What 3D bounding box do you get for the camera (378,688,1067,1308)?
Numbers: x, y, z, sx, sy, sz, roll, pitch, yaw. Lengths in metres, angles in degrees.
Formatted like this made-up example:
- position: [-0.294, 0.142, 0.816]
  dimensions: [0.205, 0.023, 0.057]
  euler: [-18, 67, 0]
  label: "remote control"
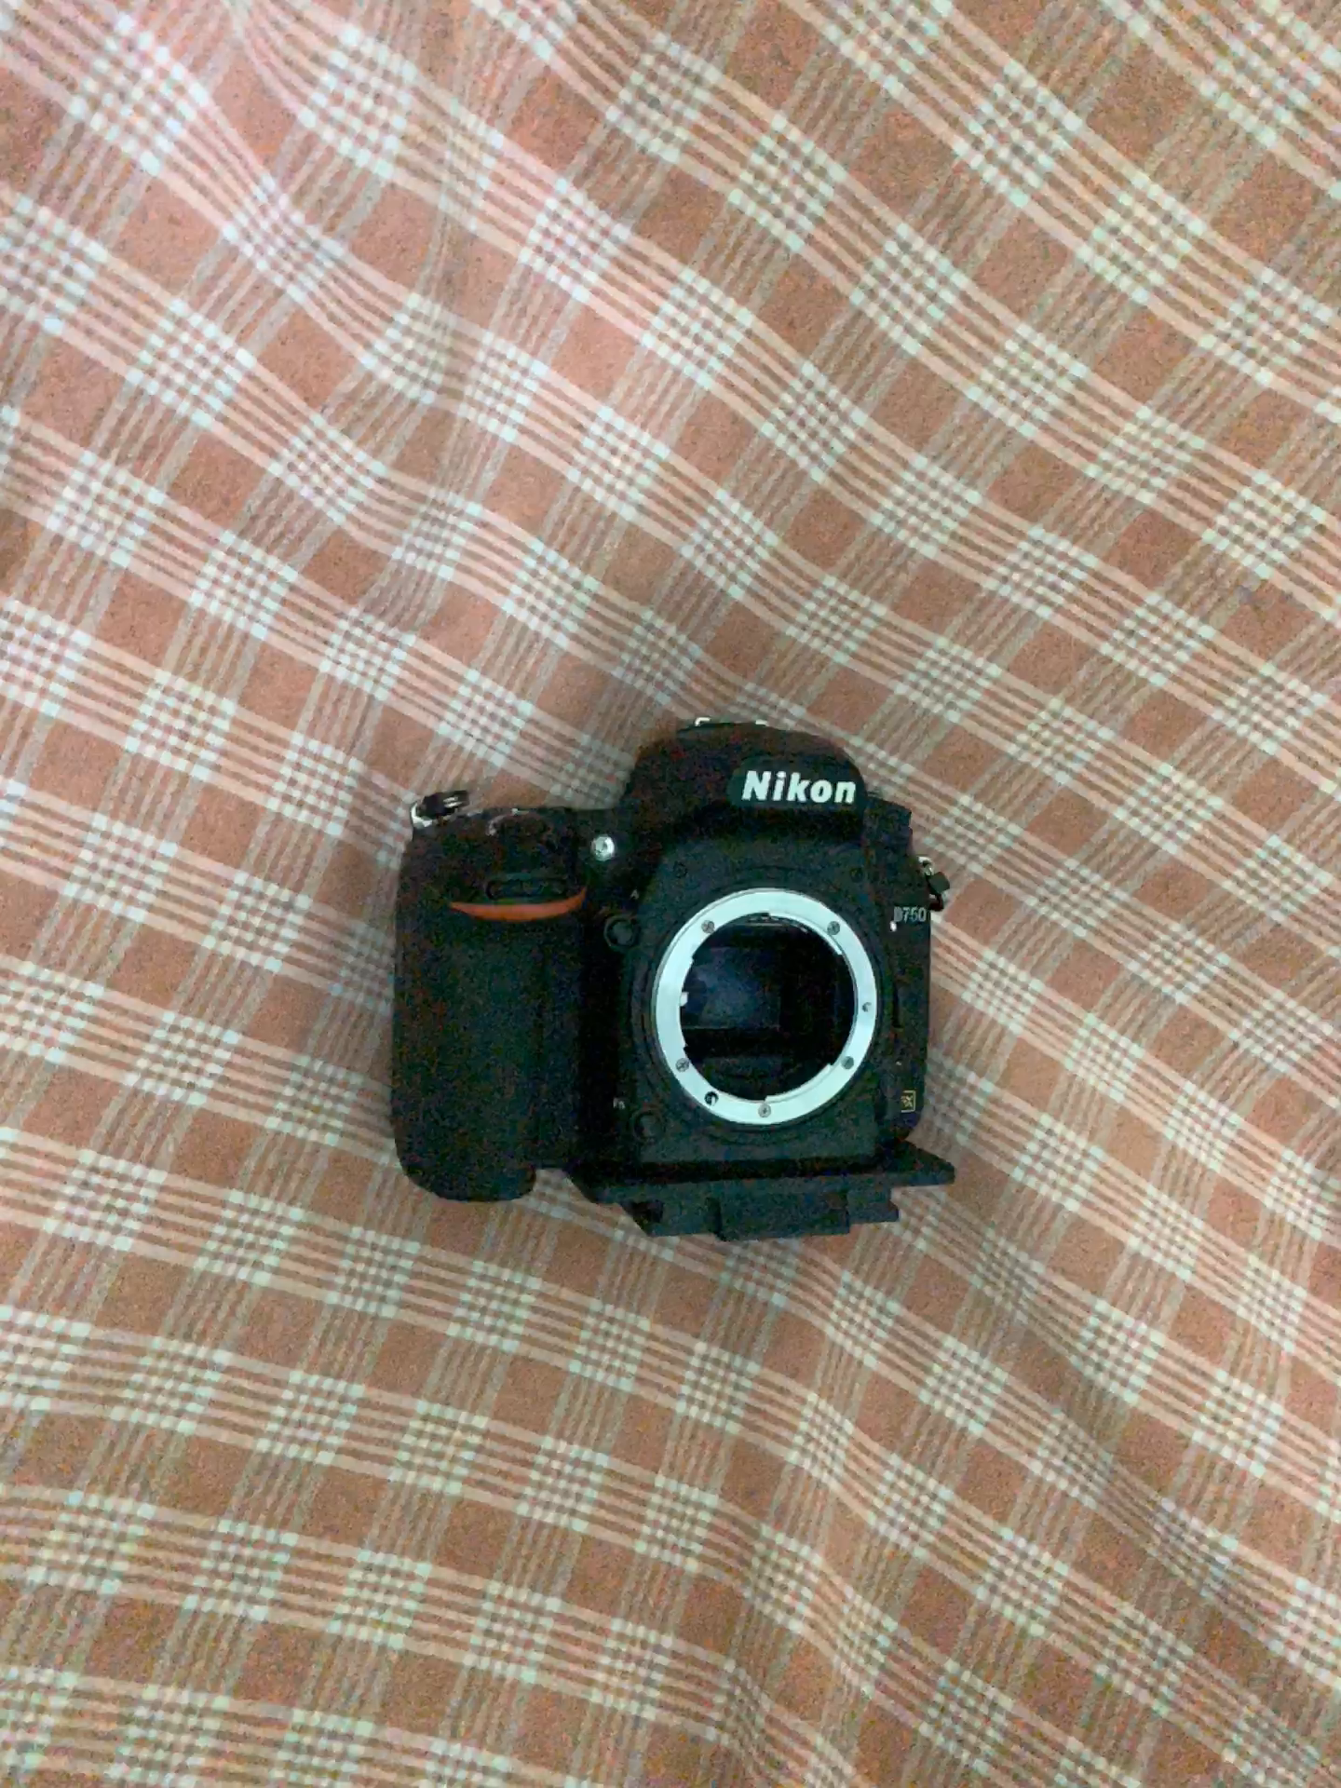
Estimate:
- position: [0.007, 0.018, 0.337]
  dimensions: [0.145, 0.085, 0.125]
  euler: [0, 95, -19]
  label: "camera"
